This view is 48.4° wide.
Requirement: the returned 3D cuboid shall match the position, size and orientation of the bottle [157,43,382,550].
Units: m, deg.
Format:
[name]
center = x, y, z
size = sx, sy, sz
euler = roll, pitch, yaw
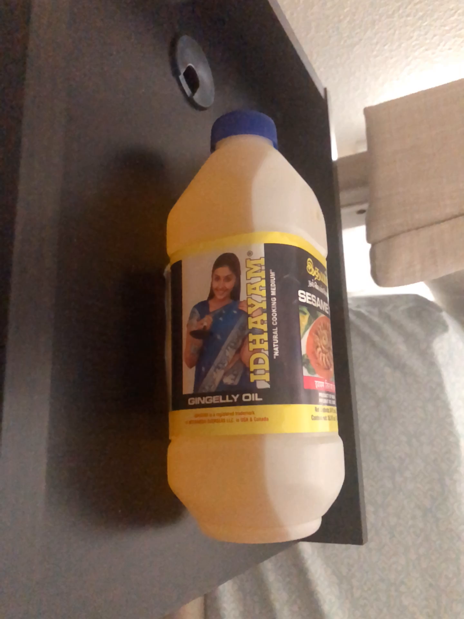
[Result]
[bottle]
center = 0.021, -0.006, 0.304
size = 0.091, 0.089, 0.250
euler = 24, 61, -59
